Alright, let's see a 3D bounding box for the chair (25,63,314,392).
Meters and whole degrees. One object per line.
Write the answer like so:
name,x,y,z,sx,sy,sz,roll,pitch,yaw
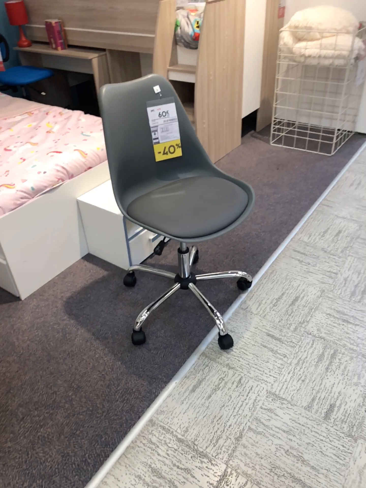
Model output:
chair,-0.034,-0.105,1.442,0.603,0.835,0.631,-30,44,-32
